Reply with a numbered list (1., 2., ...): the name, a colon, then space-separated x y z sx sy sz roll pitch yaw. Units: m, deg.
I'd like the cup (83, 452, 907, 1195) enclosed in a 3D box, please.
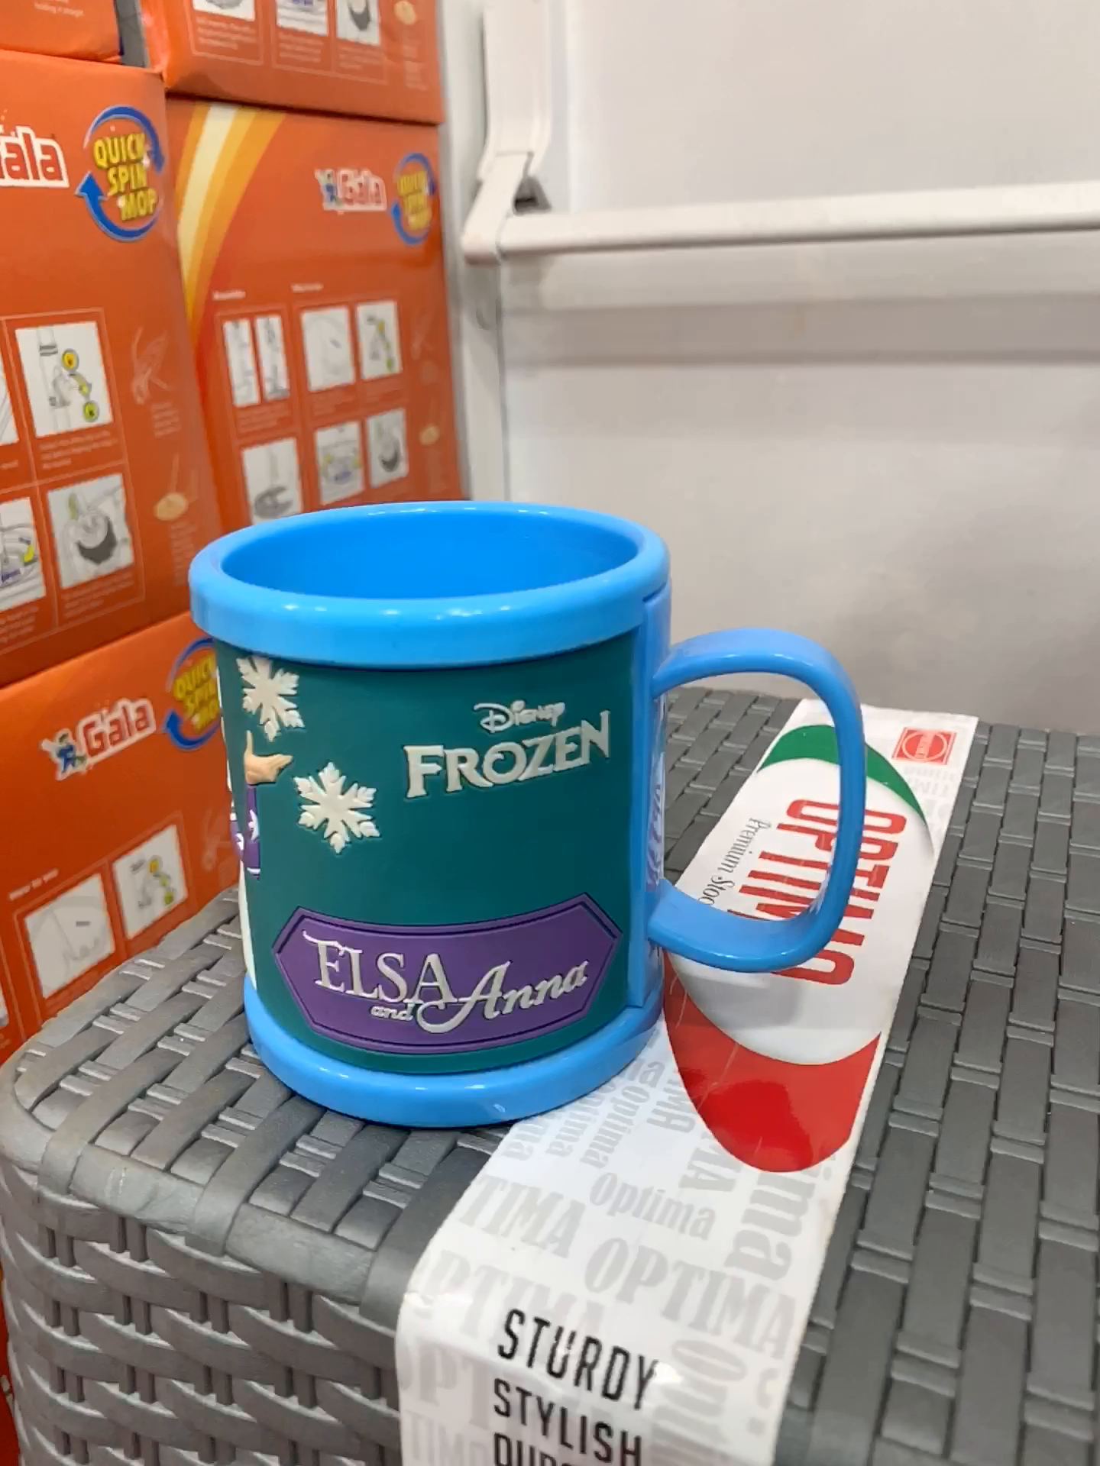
1. cup: -0.002 0.007 0.204 0.110 0.099 0.081 2 22 10
